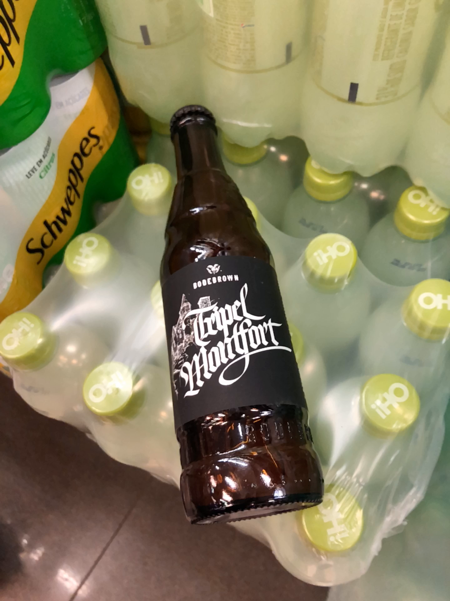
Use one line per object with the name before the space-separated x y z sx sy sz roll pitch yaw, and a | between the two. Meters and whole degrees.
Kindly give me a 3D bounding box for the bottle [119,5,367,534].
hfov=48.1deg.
bottle | -0.003 -0.027 0.249 0.070 0.070 0.251 -9 64 1
